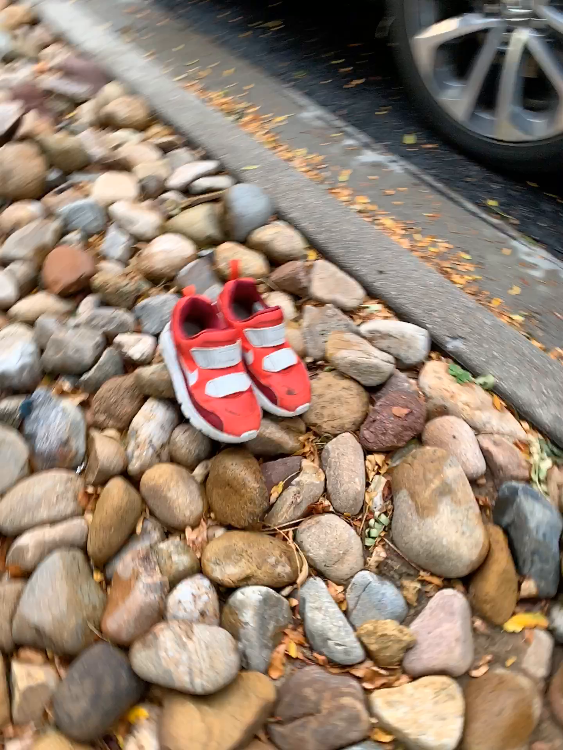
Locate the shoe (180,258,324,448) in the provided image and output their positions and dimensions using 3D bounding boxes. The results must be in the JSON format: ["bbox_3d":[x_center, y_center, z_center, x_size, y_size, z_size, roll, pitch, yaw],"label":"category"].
[{"bbox_3d":[-0.044,-0.029,0.746,0.080,0.100,0.210,-19,74,-28],"label":"shoe"}]

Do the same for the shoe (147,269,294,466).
[{"bbox_3d":[-0.083,-0.012,0.710,0.080,0.100,0.210,-19,67,-28],"label":"shoe"}]
